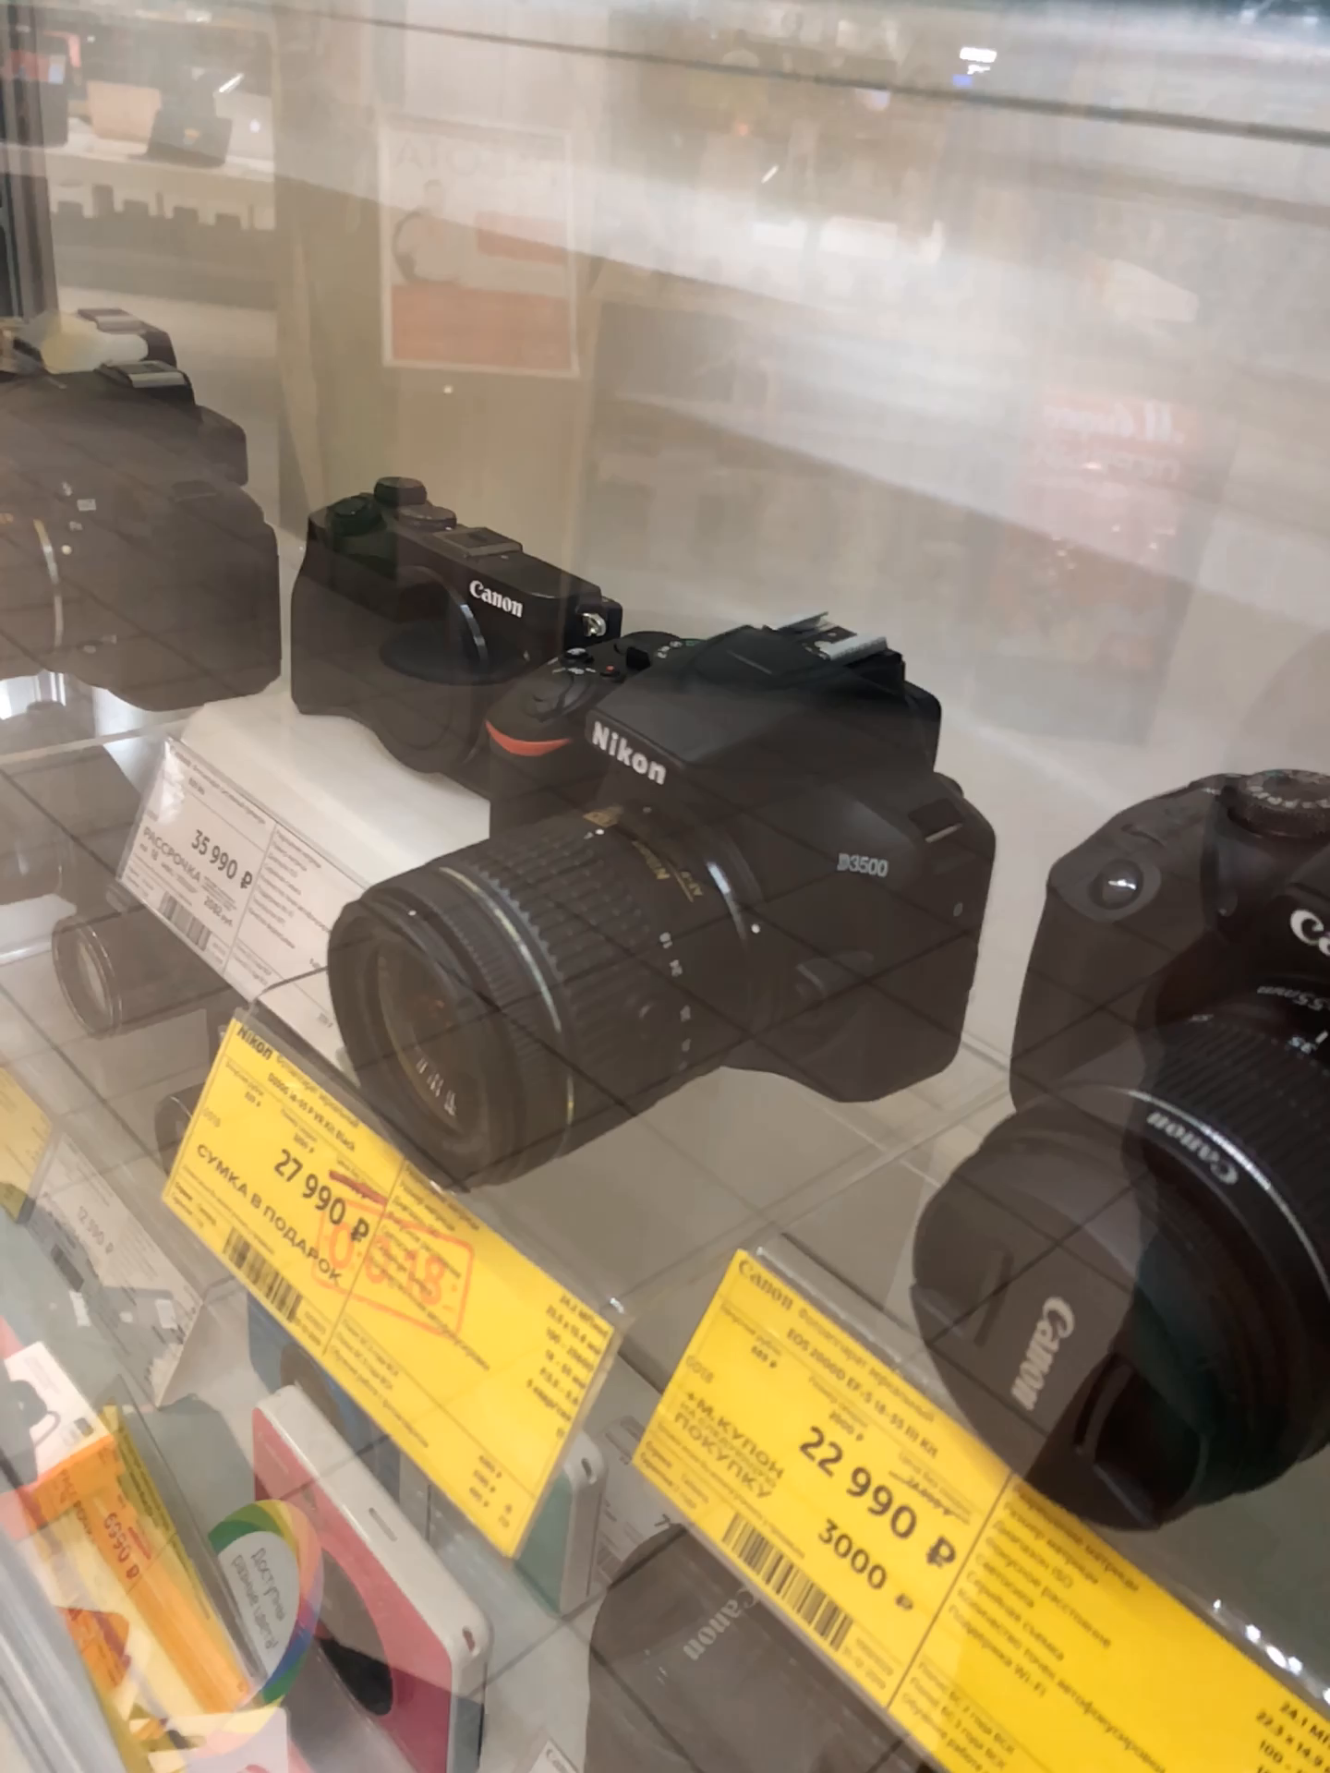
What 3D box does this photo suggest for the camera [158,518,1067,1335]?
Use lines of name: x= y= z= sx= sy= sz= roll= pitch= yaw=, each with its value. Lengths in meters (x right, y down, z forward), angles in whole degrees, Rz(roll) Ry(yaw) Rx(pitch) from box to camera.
camera: x=-0.015 y=-0.007 z=0.305 sx=0.120 sy=0.092 sz=0.130 roll=-20 pitch=38 yaw=-39
